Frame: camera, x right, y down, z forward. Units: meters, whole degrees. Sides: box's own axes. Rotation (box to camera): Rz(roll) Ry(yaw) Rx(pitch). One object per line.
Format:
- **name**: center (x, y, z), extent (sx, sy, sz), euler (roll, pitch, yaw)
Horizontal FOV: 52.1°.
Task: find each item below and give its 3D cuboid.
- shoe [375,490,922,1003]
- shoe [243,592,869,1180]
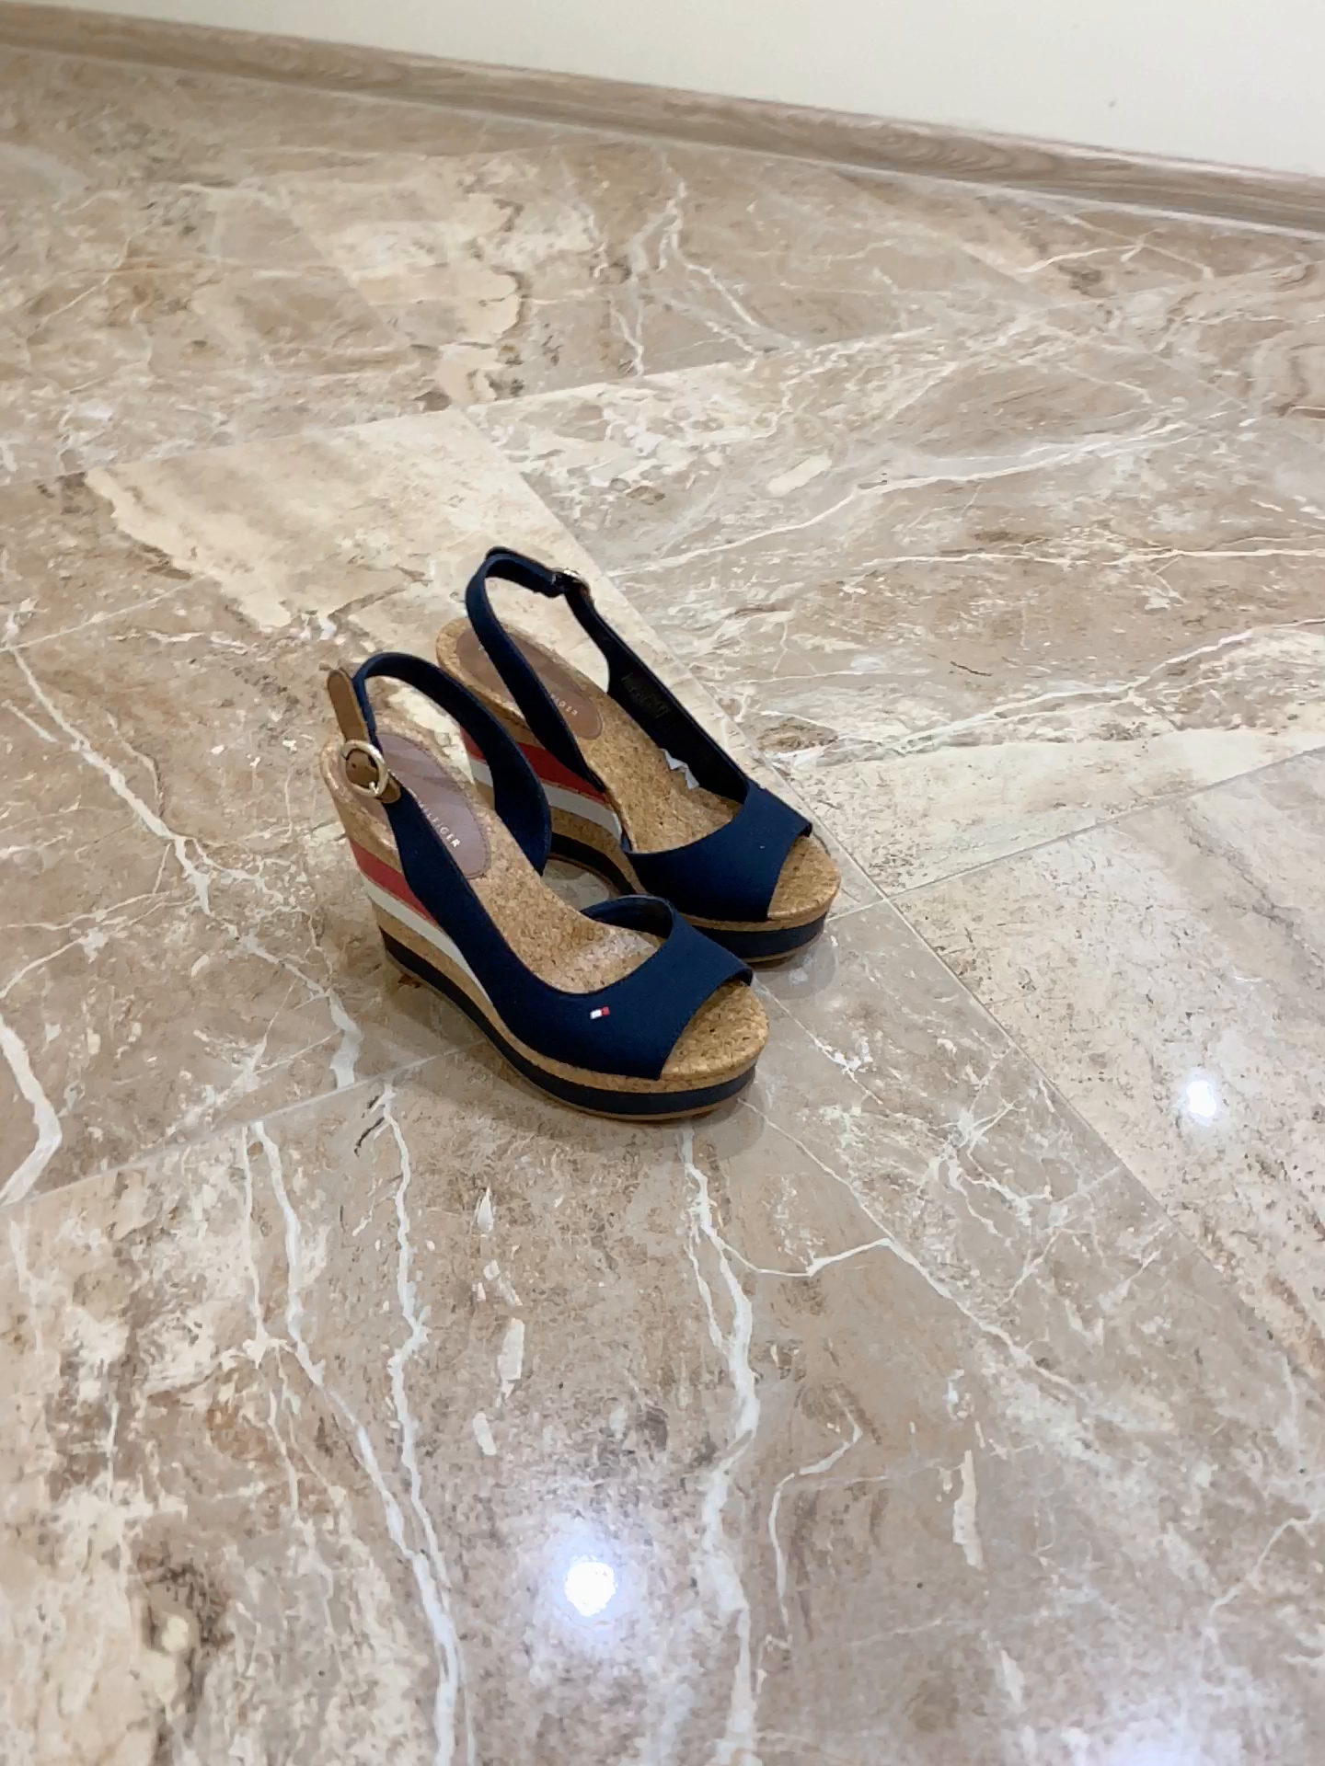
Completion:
- **shoe**: center (-0.010, -0.064, 0.612), extent (0.210, 0.145, 0.090), euler (22, 46, 19)
- **shoe**: center (-0.043, -0.002, 0.540), extent (0.210, 0.145, 0.090), euler (22, 46, 19)
